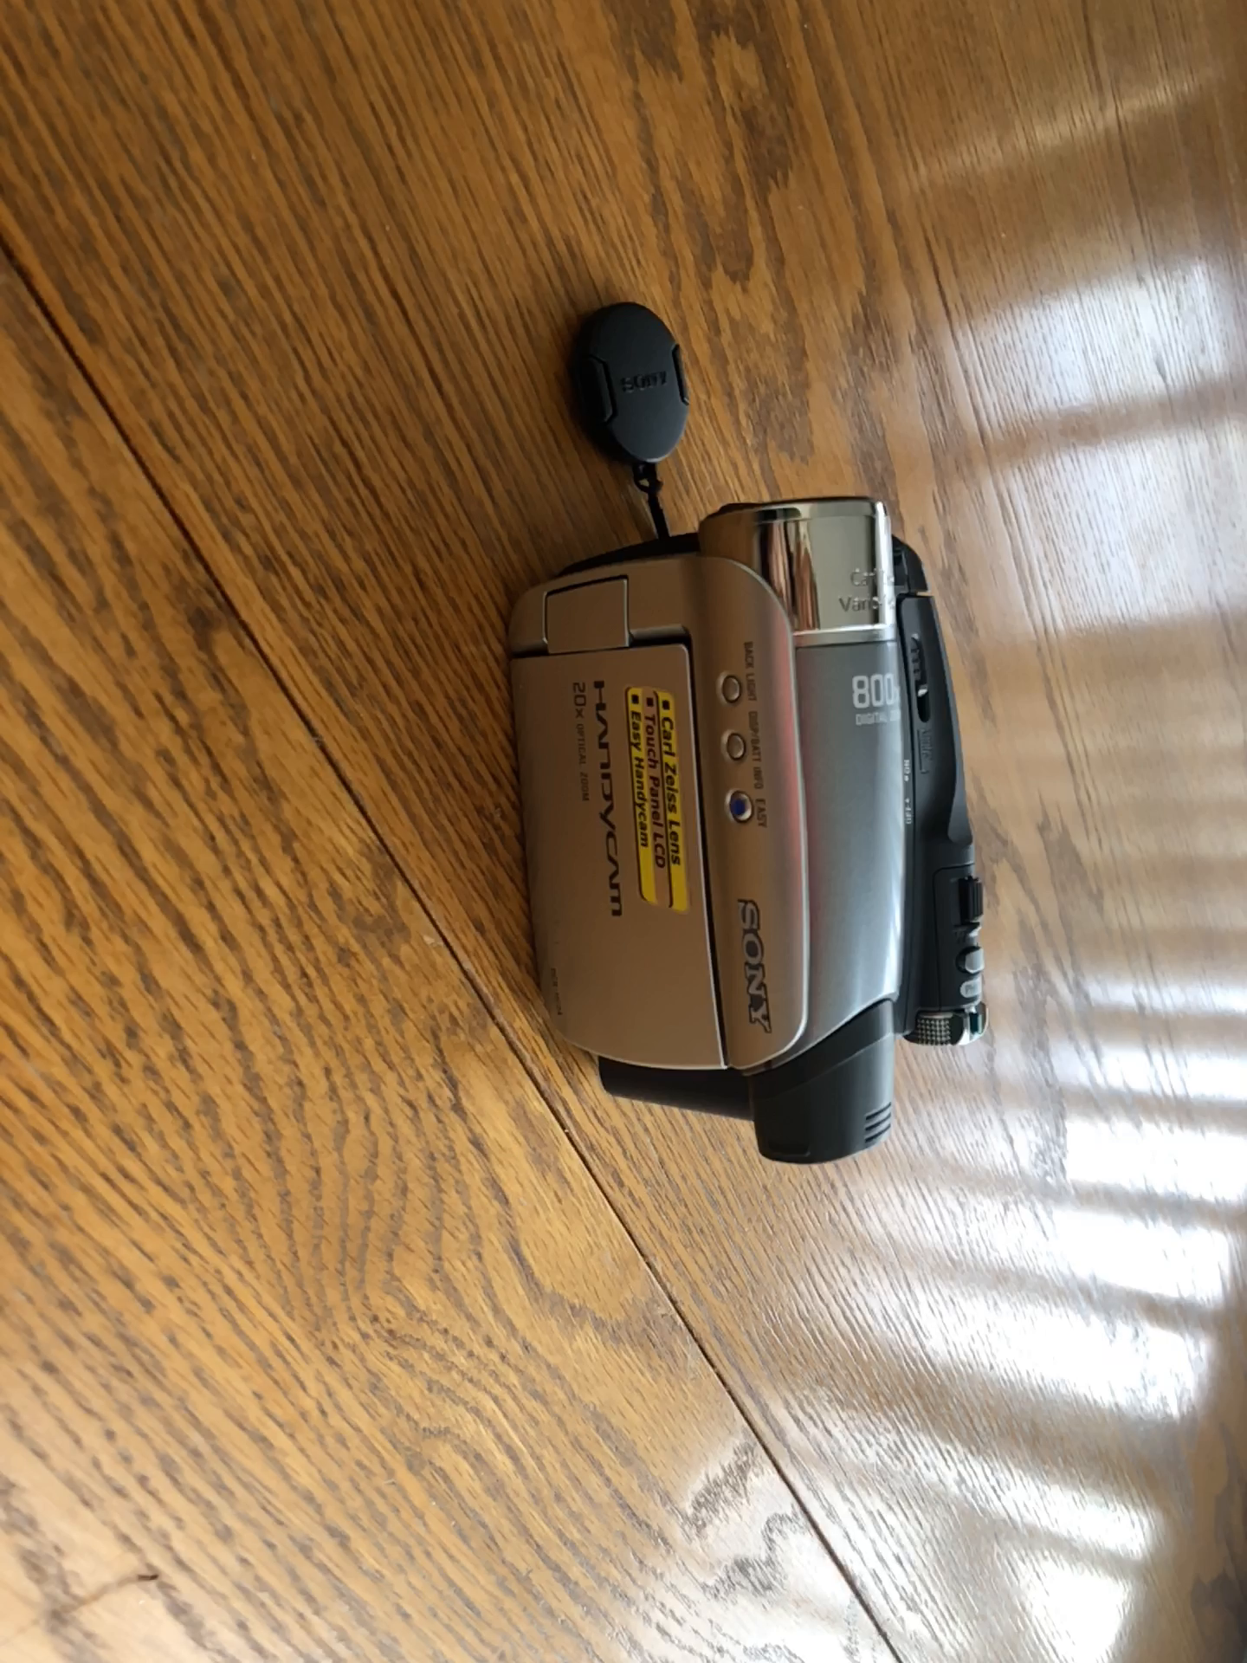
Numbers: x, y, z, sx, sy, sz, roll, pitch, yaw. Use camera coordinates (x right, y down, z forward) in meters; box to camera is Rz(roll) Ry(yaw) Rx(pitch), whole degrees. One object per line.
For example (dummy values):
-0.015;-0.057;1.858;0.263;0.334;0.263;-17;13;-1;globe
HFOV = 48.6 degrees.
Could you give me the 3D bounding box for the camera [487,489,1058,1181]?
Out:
0.032;-0.005;0.273;0.080;0.072;0.111;-14;102;-49;camera
